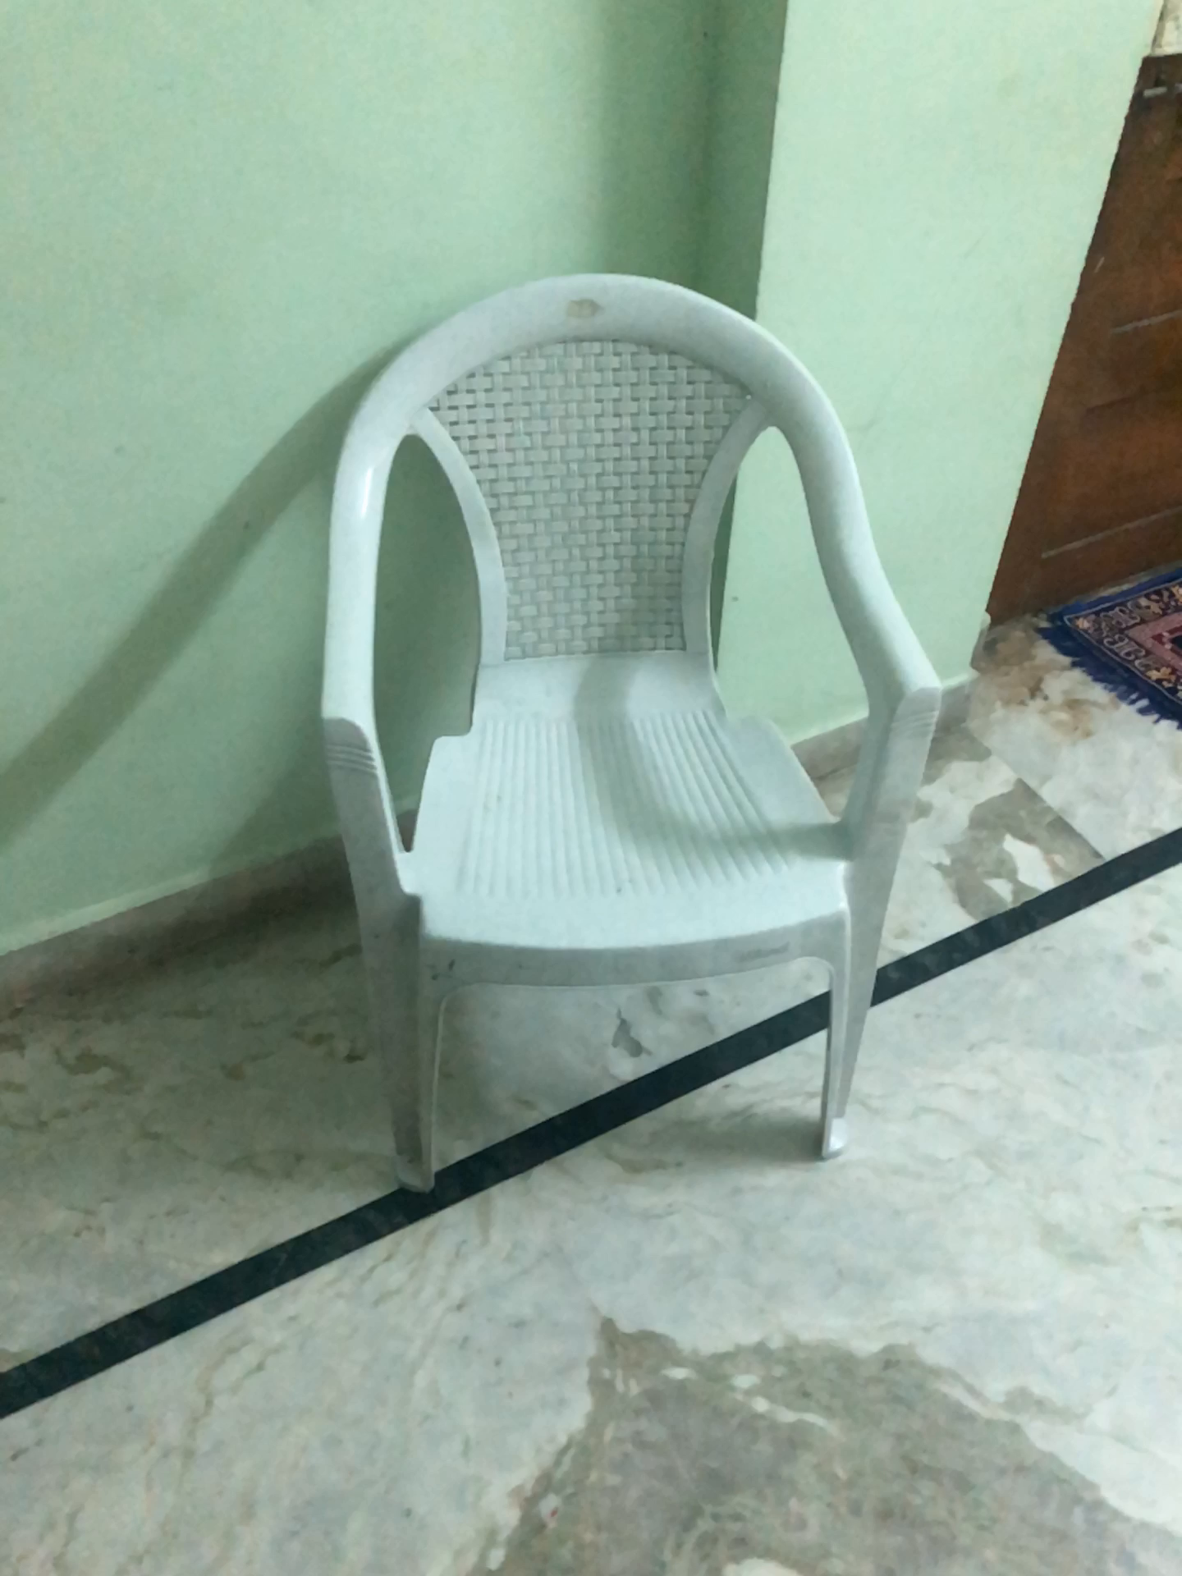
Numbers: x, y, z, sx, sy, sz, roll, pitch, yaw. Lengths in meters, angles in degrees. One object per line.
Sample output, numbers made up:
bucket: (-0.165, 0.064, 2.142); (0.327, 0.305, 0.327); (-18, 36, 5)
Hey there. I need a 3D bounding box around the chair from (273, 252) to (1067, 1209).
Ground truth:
chair: (0.034, -0.031, 1.334); (0.530, 0.825, 0.533); (-2, 44, -3)
